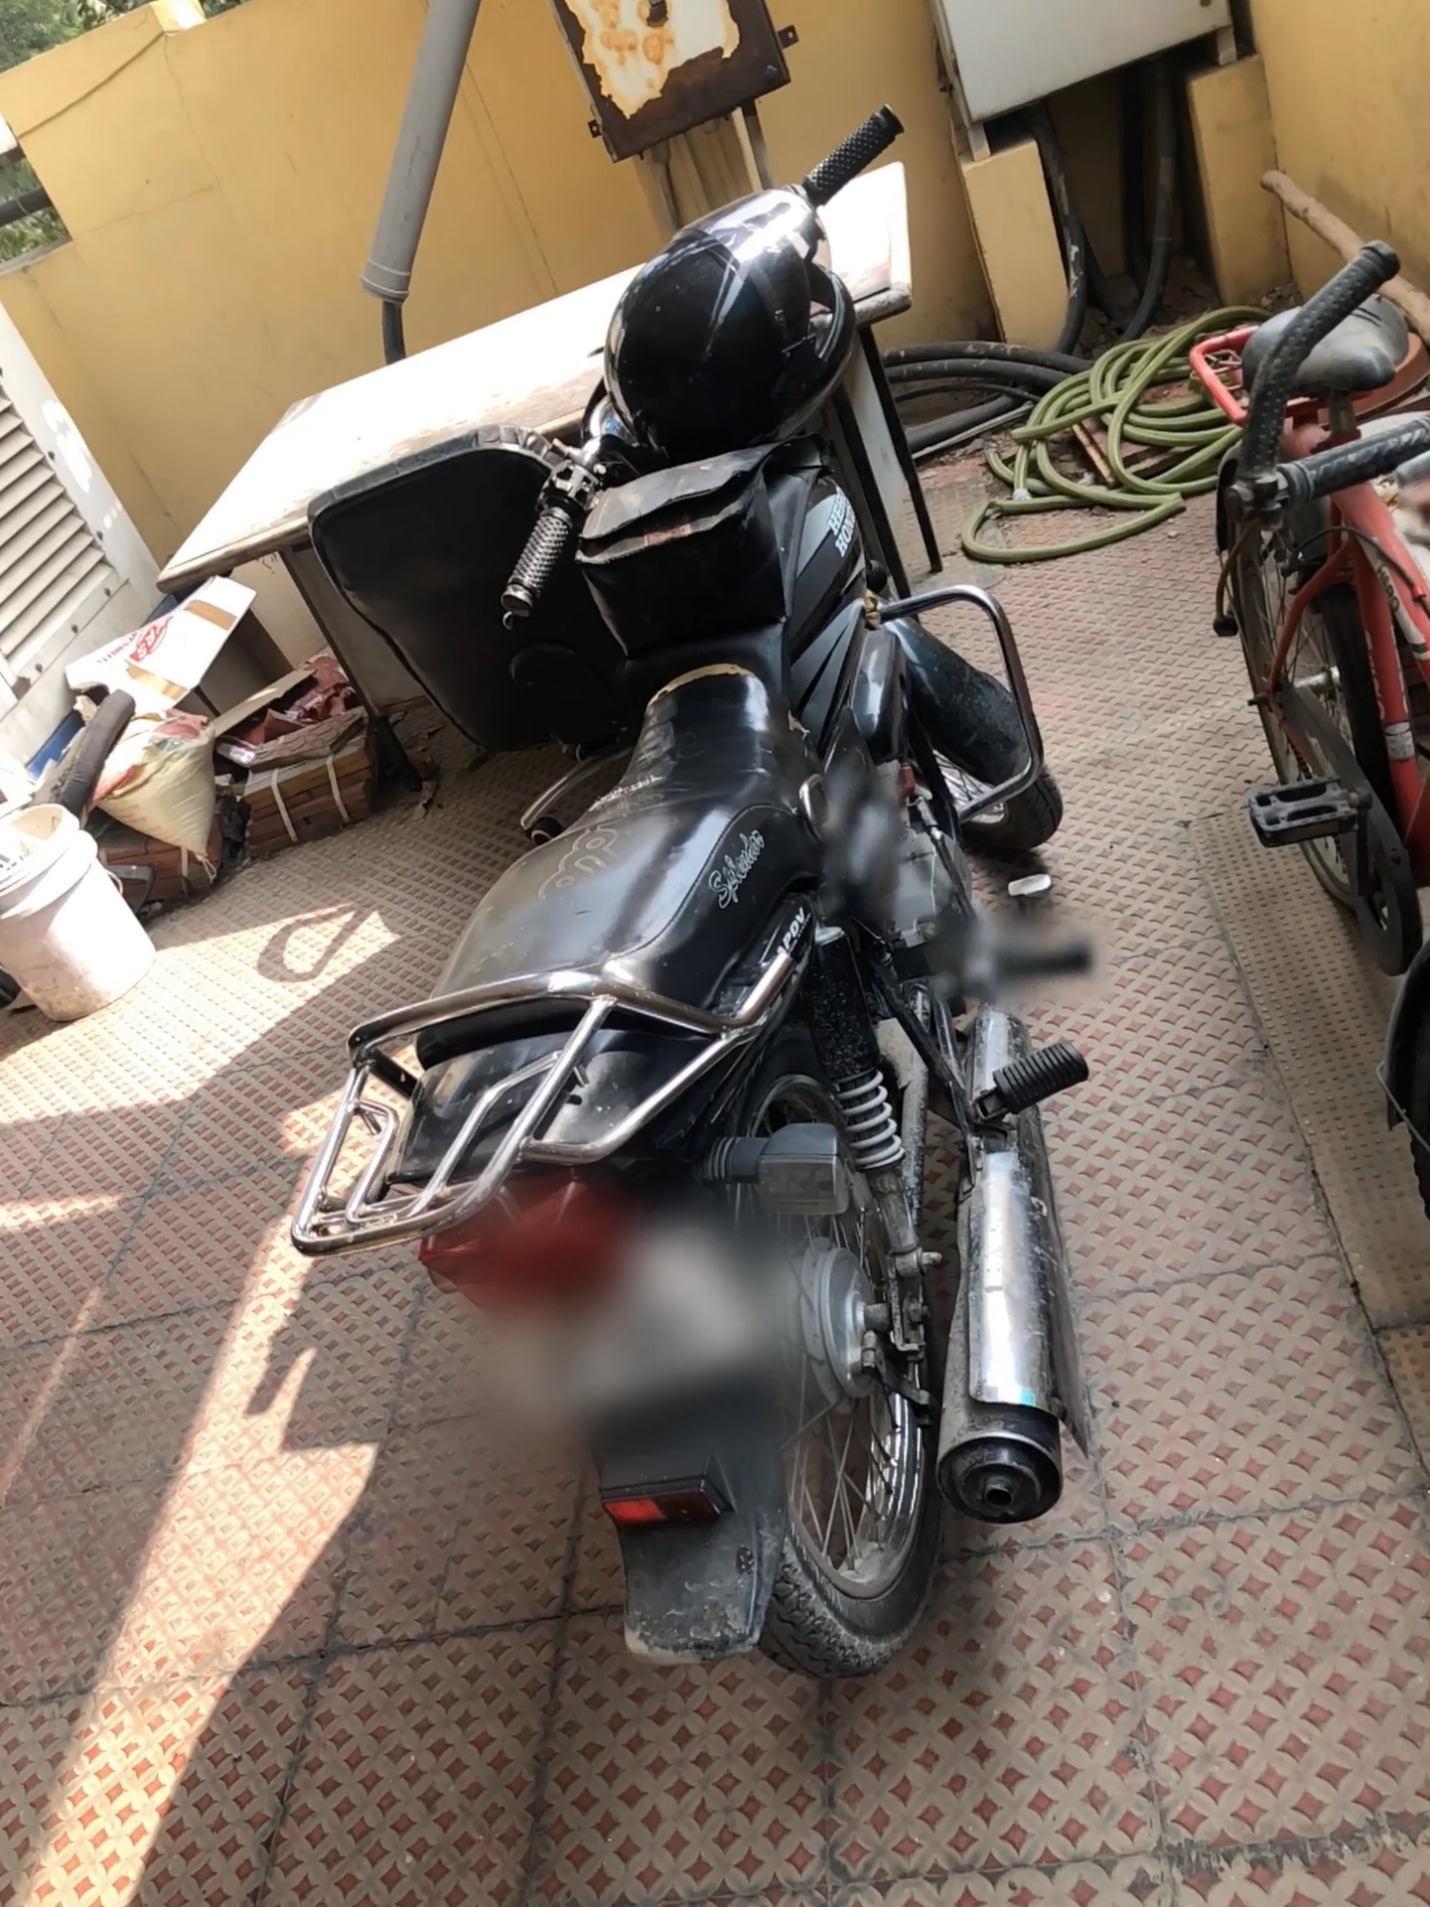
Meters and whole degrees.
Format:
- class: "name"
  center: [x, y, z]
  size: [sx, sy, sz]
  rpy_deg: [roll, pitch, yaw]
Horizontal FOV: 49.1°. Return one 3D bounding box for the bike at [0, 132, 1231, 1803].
- class: "bike"
  center: [-0.087, -0.128, 1.747]
  size: [0.713, 1.027, 1.623]
  rpy_deg: [-15, 34, 13]
